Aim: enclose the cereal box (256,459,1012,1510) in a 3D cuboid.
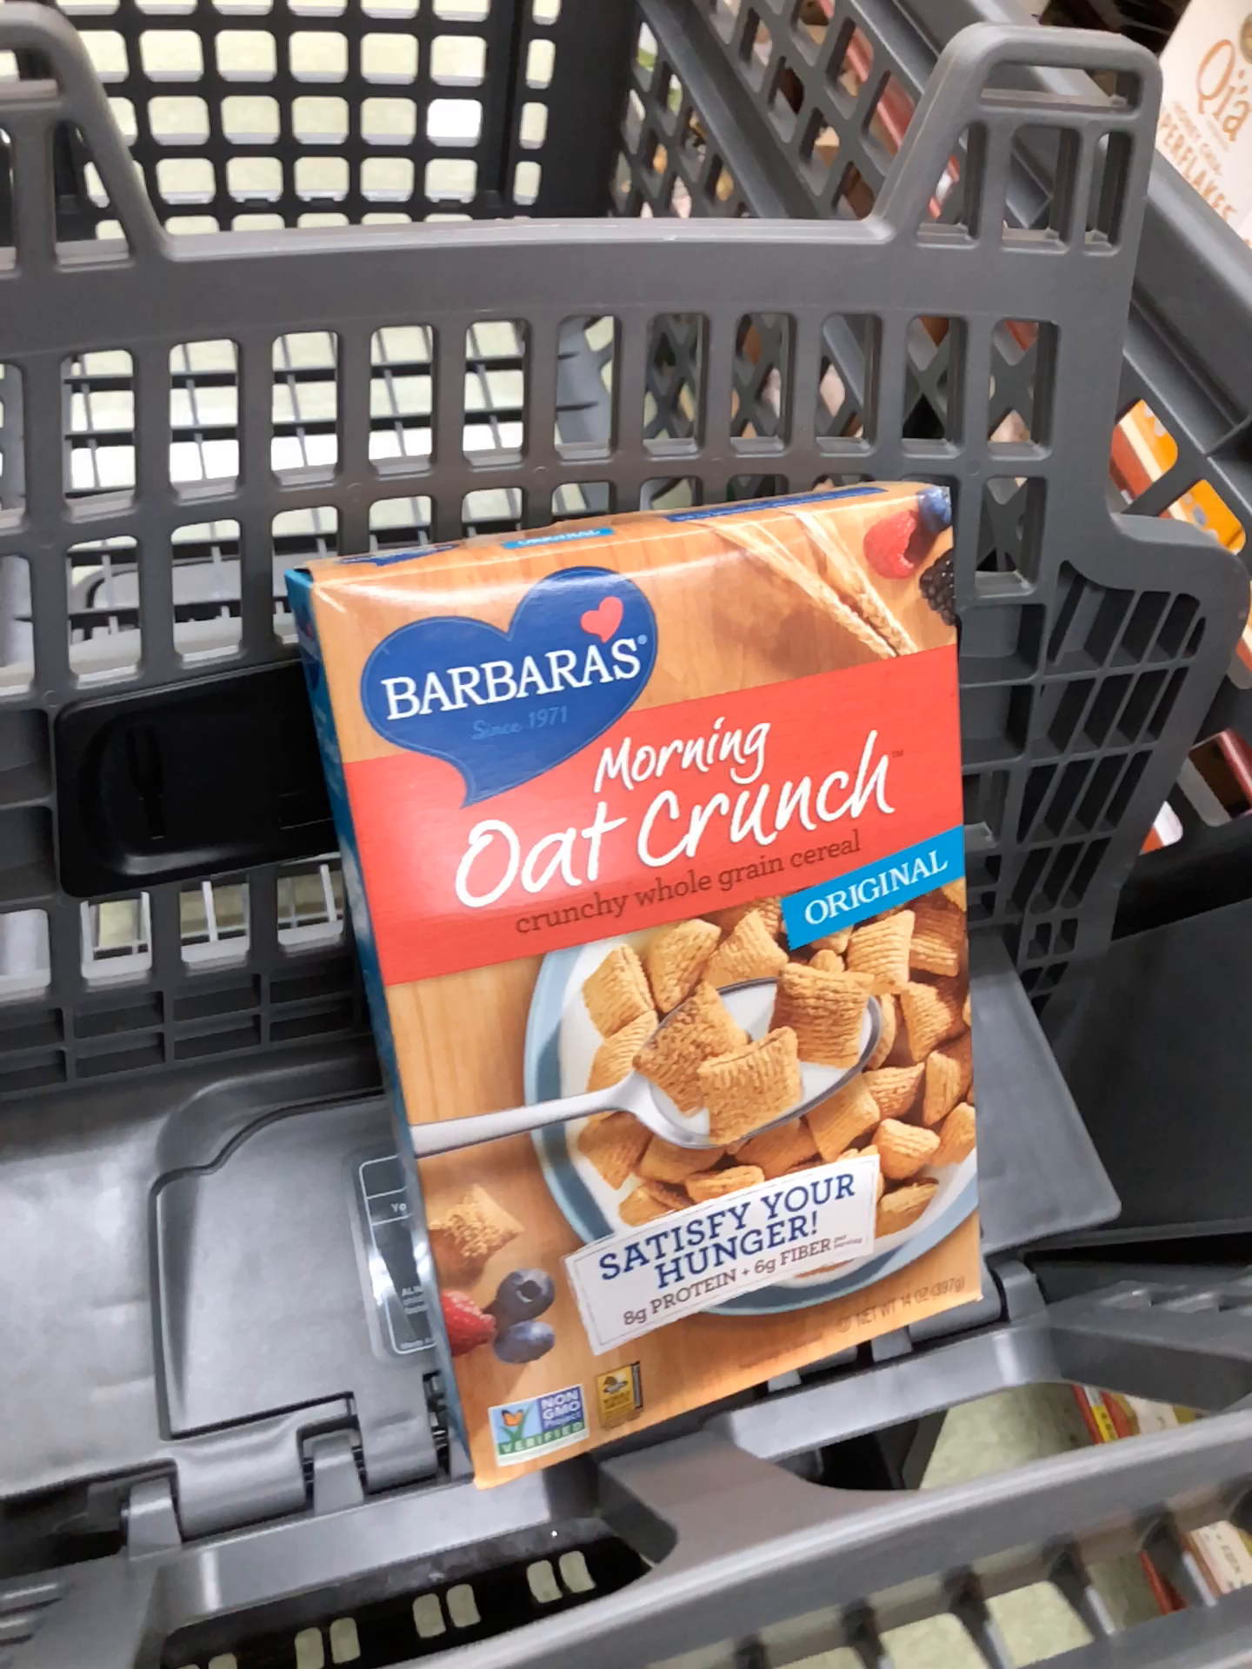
[{"bbox_3d":[0.014,0.038,0.399,0.180,0.260,0.060,-13,20,-19],"label":"cereal box"}]
